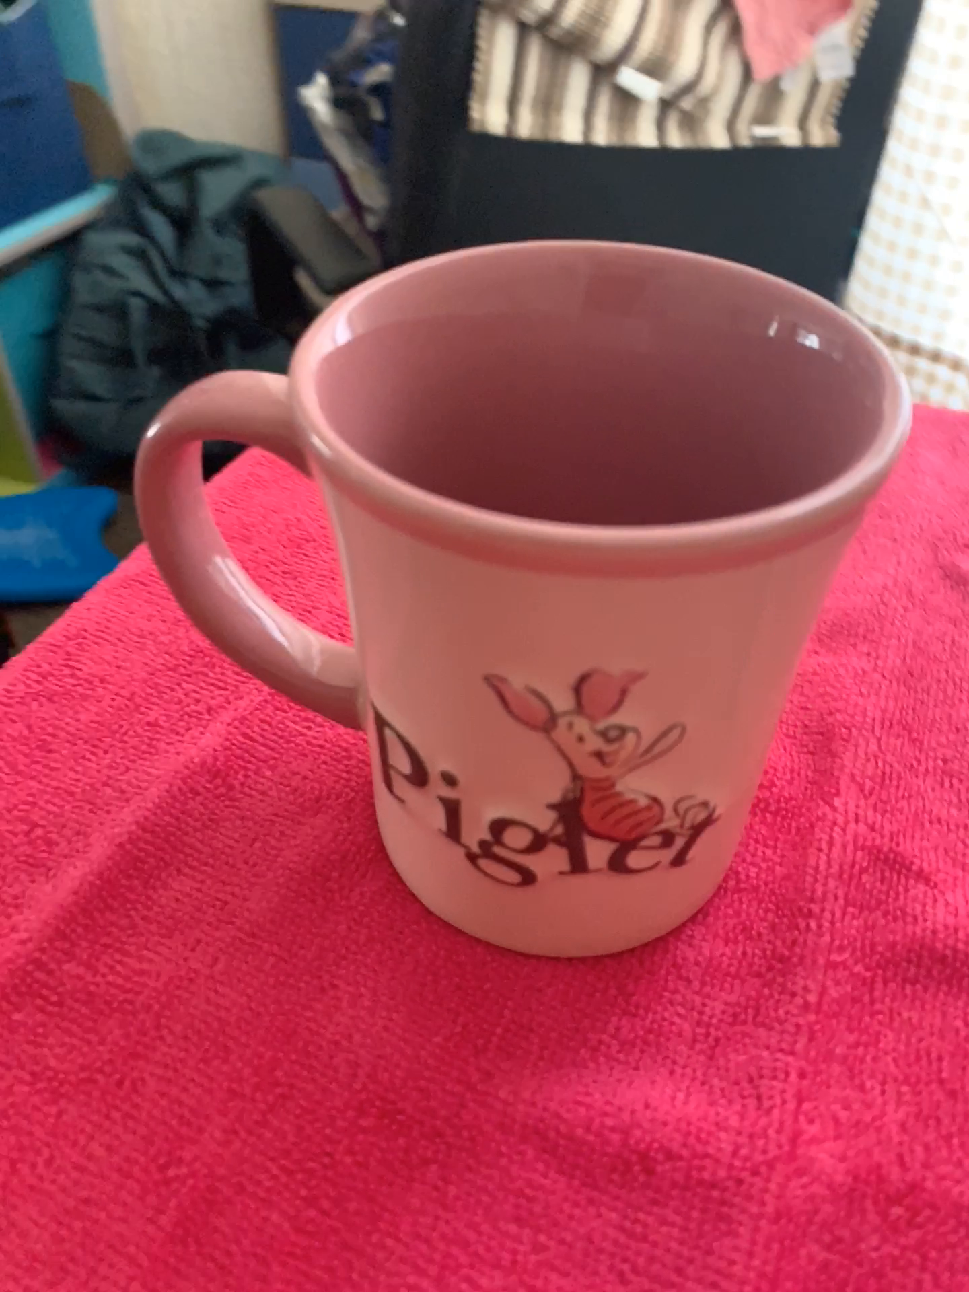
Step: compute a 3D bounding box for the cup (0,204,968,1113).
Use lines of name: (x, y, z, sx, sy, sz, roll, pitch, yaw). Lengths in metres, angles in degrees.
cup: (0.010, -0.003, 0.185, 0.130, 0.109, 0.091, 13, 43, 14)
